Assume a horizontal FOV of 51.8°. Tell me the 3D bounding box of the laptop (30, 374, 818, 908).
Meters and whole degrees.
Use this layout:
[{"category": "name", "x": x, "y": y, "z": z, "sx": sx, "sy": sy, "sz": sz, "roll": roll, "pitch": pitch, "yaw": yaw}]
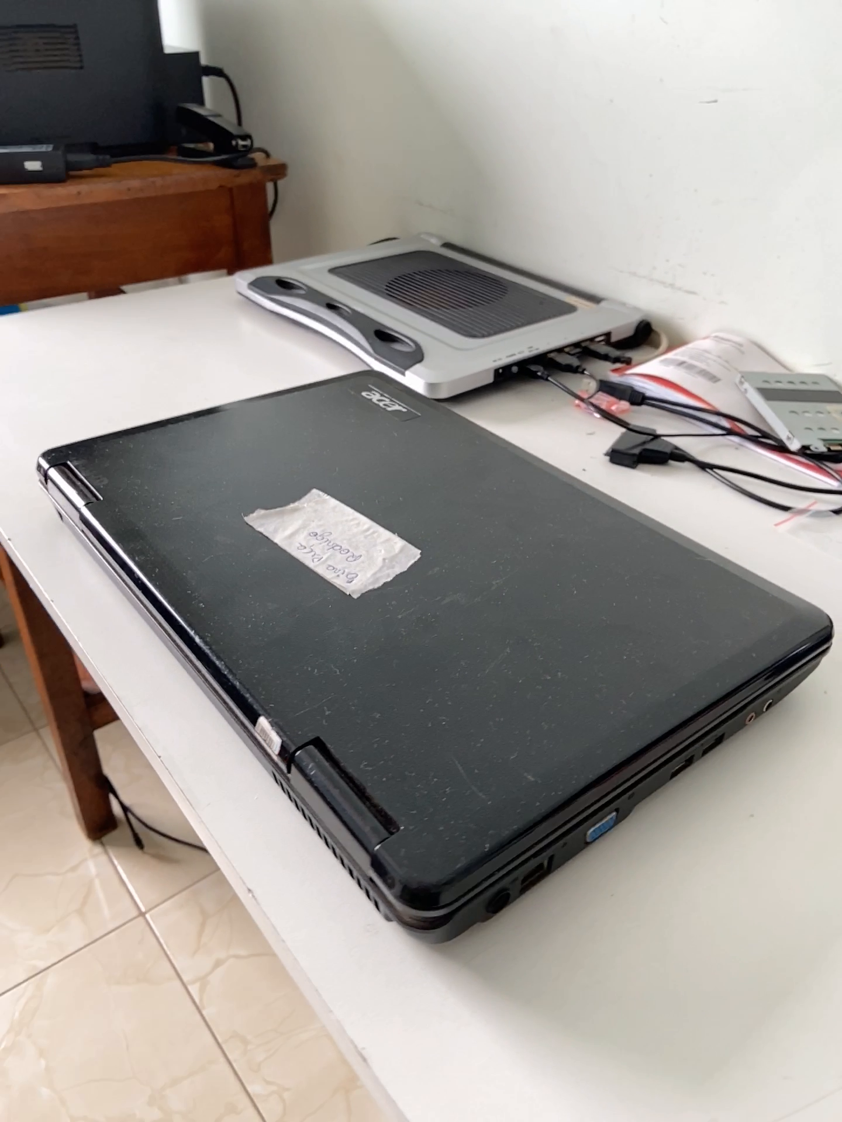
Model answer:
[{"category": "laptop", "x": -0.024, "y": -0.013, "z": 0.449, "sx": 0.239, "sy": 0.005, "sz": 0.358, "roll": -22, "pitch": 40, "yaw": -31}]
